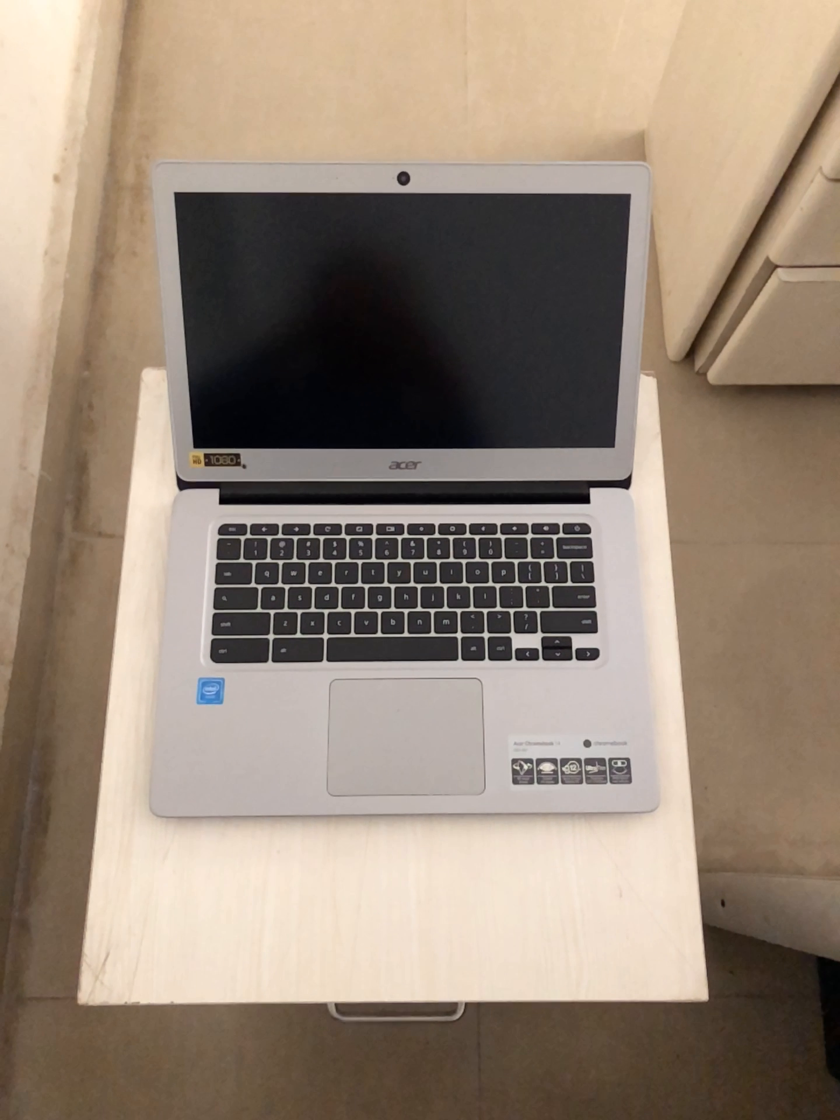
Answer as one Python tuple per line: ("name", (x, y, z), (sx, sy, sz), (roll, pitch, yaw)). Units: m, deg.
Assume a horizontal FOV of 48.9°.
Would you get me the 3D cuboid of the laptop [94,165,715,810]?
("laptop", (-0.010, -0.049, 0.616), (0.332, 0.126, 0.408), (0, 73, -1))
